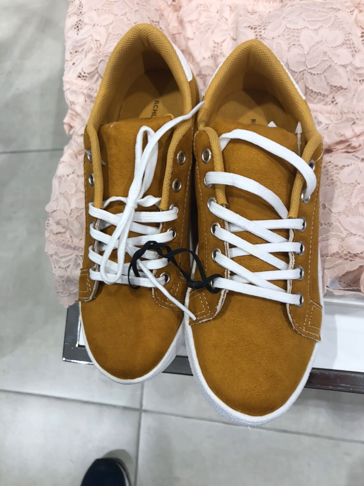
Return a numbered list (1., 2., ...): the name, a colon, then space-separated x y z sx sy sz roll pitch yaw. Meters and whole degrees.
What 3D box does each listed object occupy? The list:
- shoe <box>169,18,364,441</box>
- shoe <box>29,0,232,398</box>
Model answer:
1. shoe: 0.051 -0.012 0.268 0.100 0.100 0.240 3 71 2
2. shoe: -0.022 -0.029 0.283 0.090 0.100 0.240 4 76 2
